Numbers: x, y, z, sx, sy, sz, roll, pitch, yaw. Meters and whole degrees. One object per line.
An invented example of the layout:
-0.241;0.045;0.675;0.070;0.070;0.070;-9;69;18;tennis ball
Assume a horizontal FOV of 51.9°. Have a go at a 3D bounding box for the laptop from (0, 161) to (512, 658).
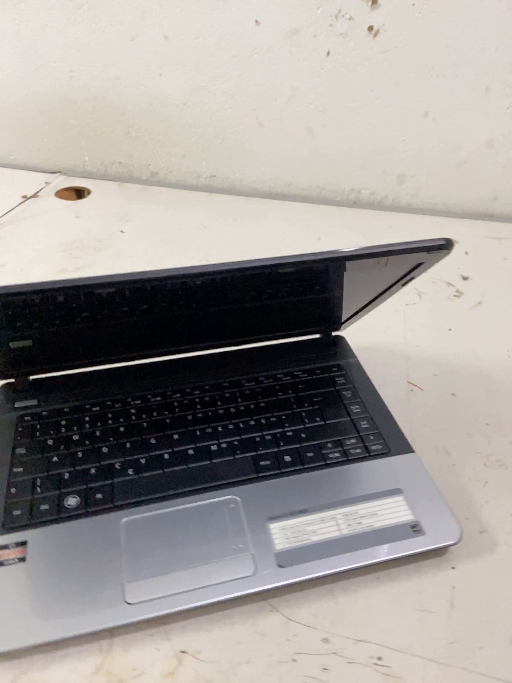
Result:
-0.041;0.016;0.375;0.334;0.184;0.239;-8;40;-12;laptop
